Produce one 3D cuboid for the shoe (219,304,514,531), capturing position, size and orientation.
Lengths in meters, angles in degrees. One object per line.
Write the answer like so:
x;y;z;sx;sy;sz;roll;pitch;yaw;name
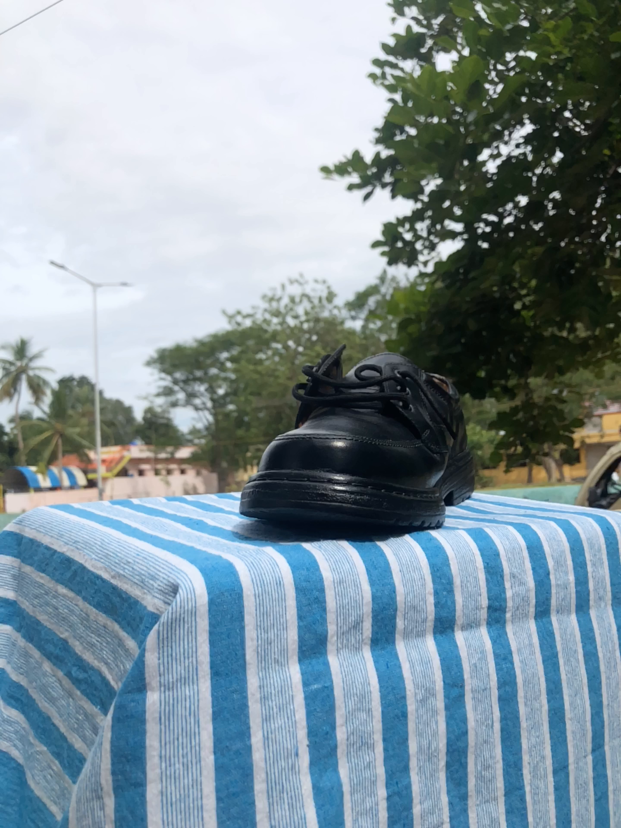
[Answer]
0.061;0.011;0.459;0.110;0.100;0.290;-1;-4;23;shoe
